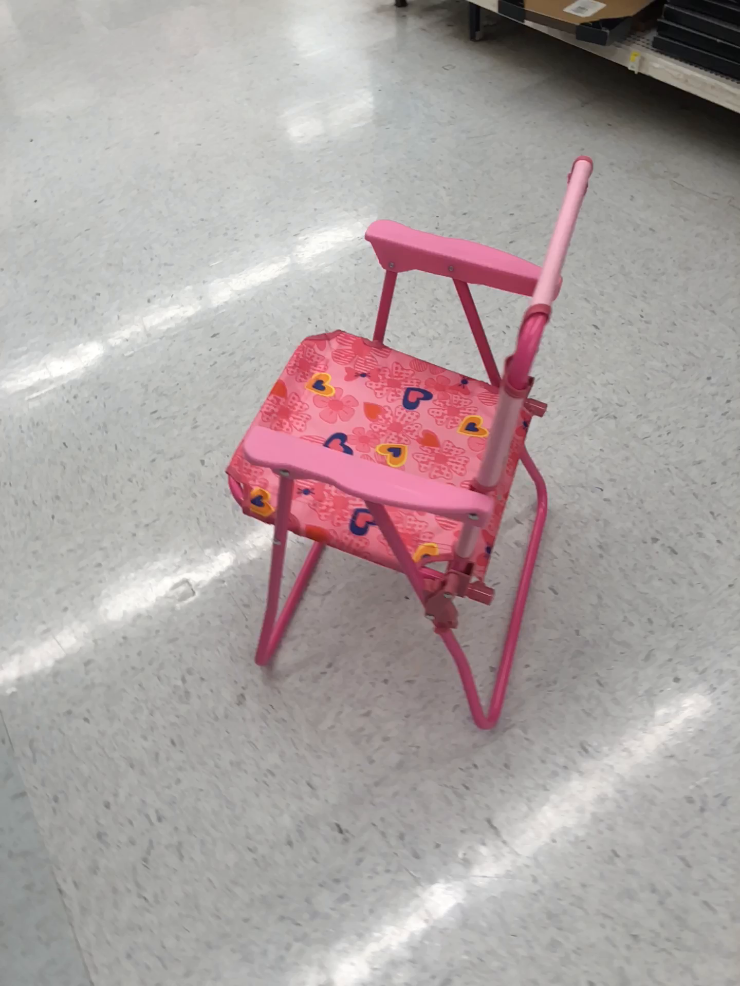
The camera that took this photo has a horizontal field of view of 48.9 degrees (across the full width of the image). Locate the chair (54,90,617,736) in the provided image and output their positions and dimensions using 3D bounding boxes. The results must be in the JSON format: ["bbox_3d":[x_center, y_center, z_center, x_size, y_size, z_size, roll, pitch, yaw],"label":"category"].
[{"bbox_3d":[0.016,-0.071,0.826,0.340,0.489,0.361,12,52,17],"label":"chair"}]
